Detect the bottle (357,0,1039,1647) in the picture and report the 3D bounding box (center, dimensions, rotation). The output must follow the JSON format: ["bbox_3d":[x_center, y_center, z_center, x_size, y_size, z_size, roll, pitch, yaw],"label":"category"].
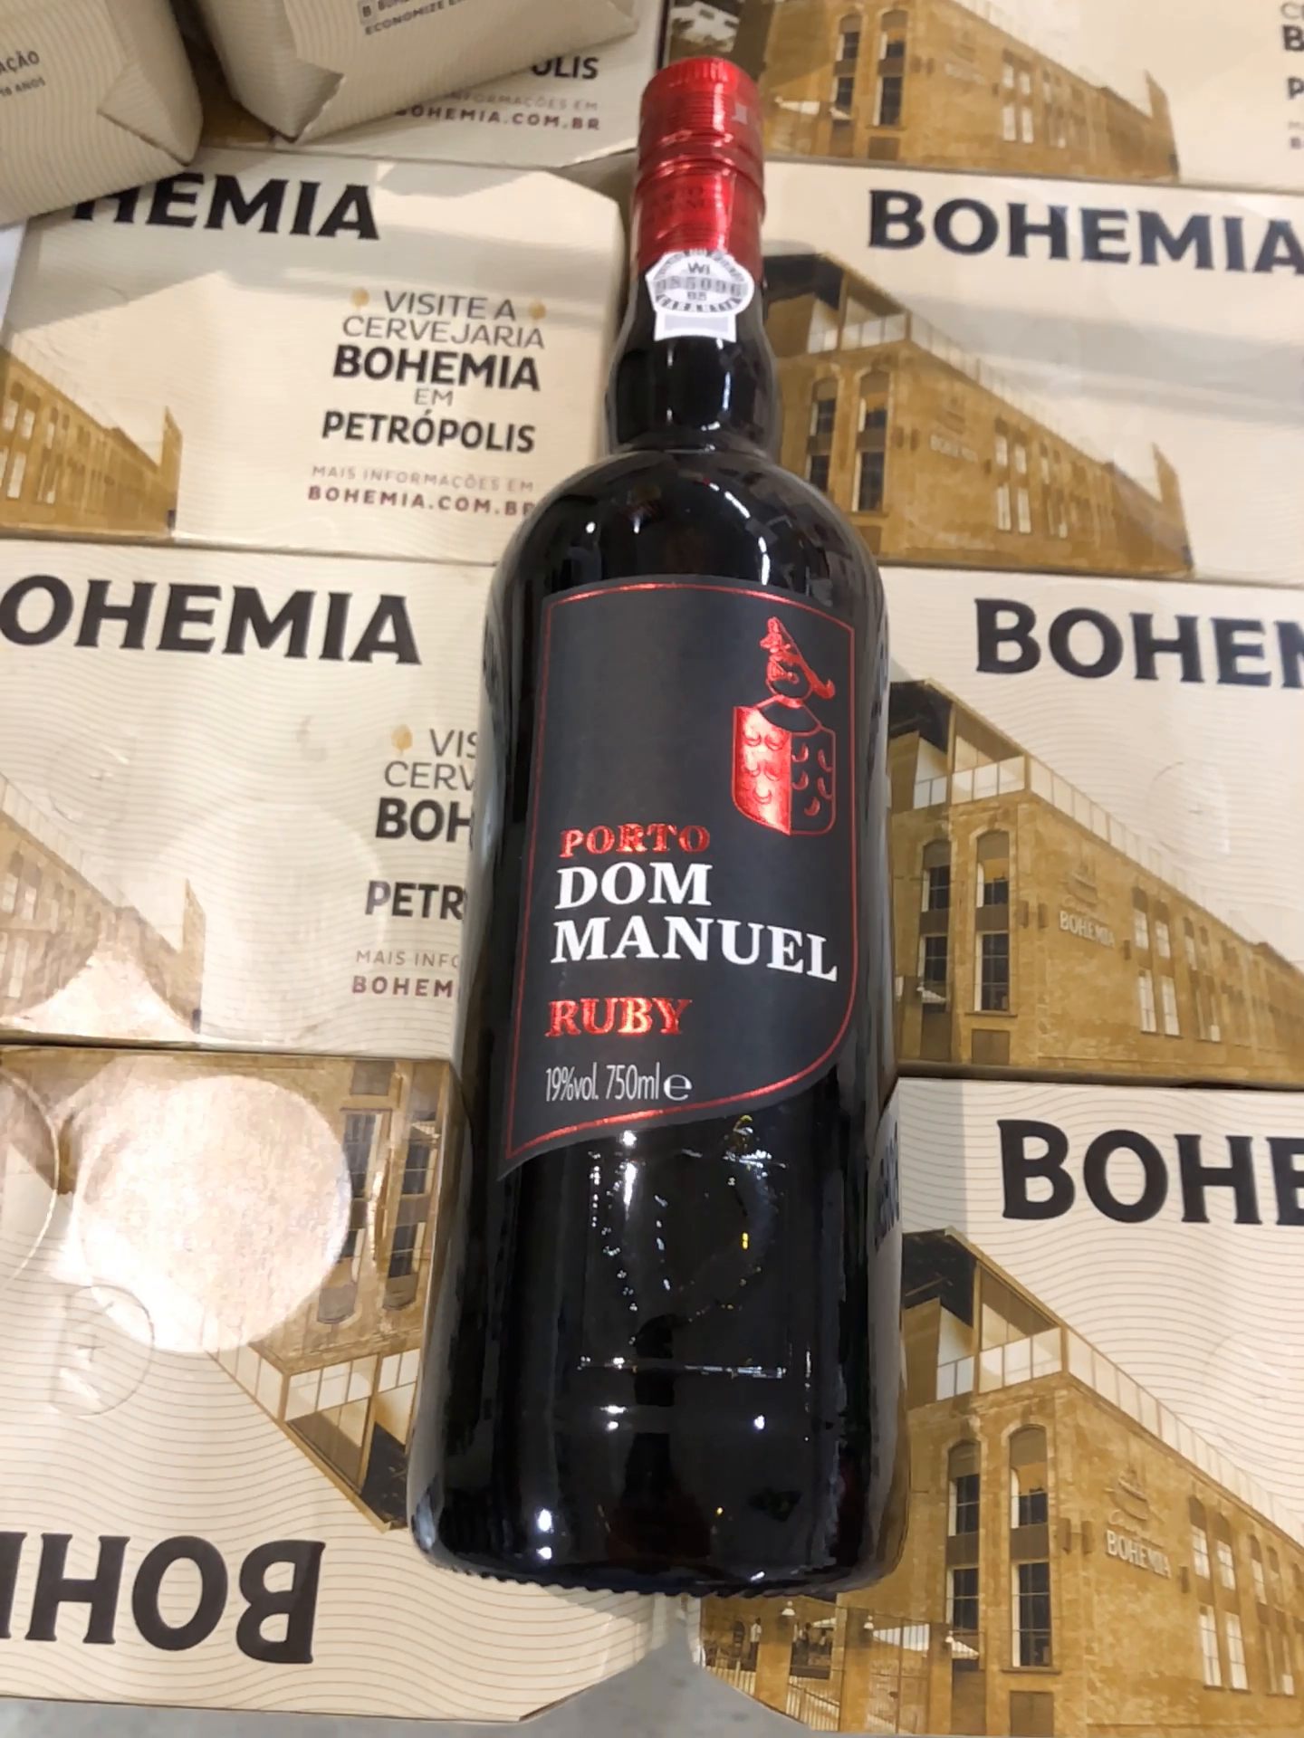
[{"bbox_3d":[0.008,-0.043,0.278,0.090,0.070,0.331,4,70,-7],"label":"bottle"}]
